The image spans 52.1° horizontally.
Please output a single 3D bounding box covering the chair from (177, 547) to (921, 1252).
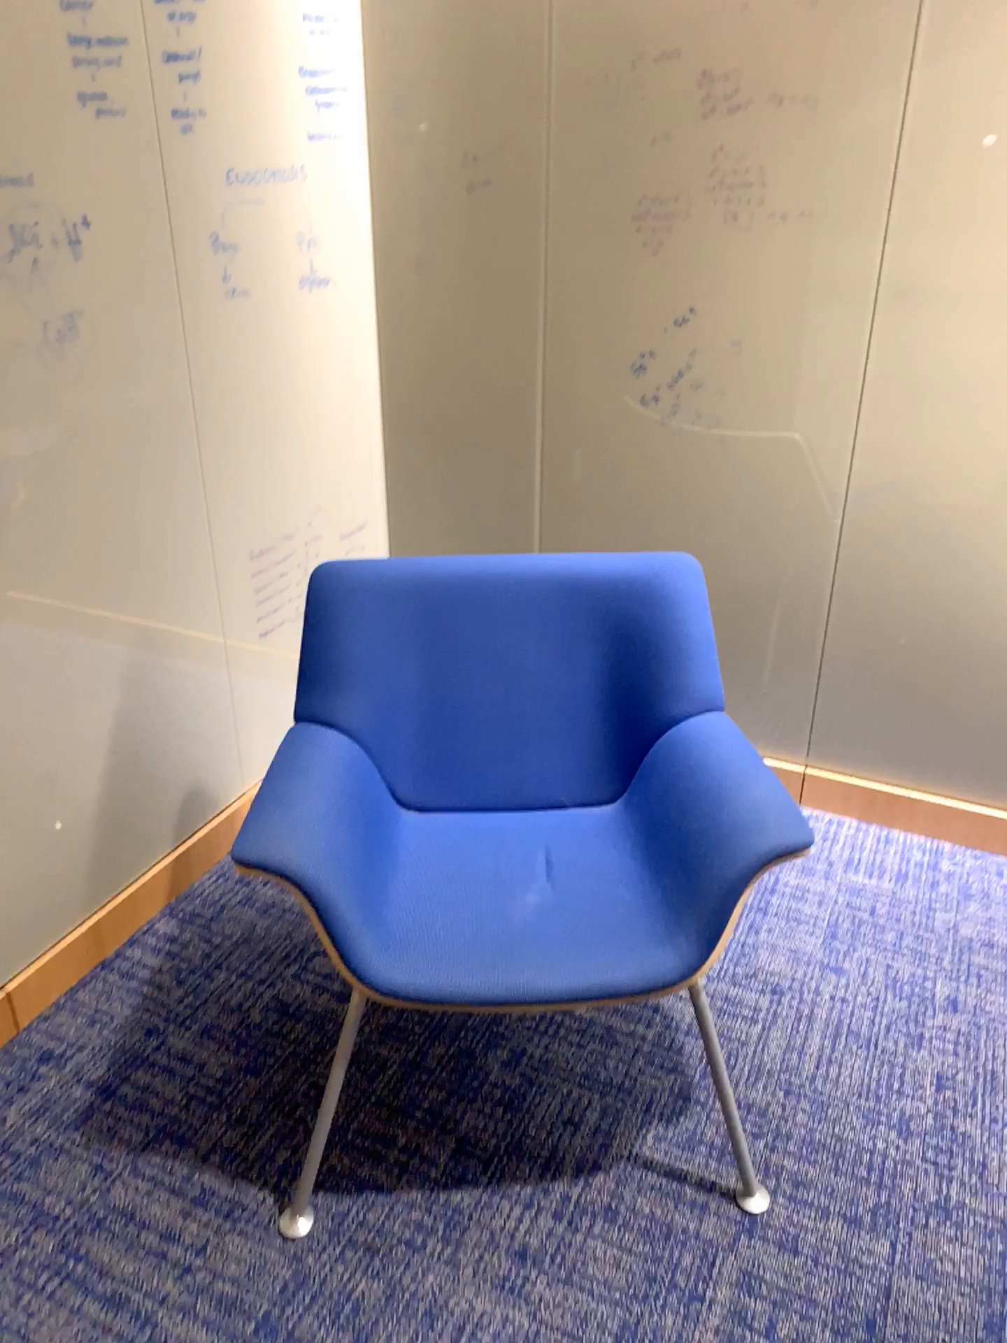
[{"bbox_3d":[0.034,0.280,1.575,0.788,0.713,0.744,-1,26,-3],"label":"chair"}]
